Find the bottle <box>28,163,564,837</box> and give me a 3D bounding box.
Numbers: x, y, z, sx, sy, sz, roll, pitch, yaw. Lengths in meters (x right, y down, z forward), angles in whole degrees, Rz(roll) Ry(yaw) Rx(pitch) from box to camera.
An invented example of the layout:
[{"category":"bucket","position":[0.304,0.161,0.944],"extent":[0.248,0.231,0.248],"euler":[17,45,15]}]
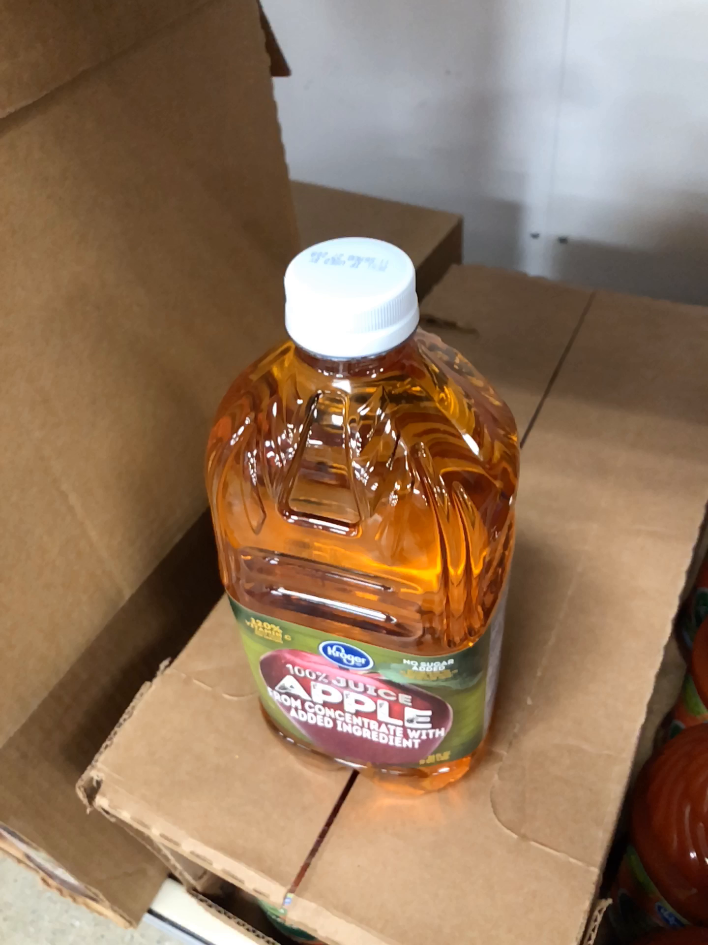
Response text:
[{"category":"bottle","position":[0.002,0.030,0.314],"extent":[0.120,0.259,0.100],"euler":[11,50,18]}]
